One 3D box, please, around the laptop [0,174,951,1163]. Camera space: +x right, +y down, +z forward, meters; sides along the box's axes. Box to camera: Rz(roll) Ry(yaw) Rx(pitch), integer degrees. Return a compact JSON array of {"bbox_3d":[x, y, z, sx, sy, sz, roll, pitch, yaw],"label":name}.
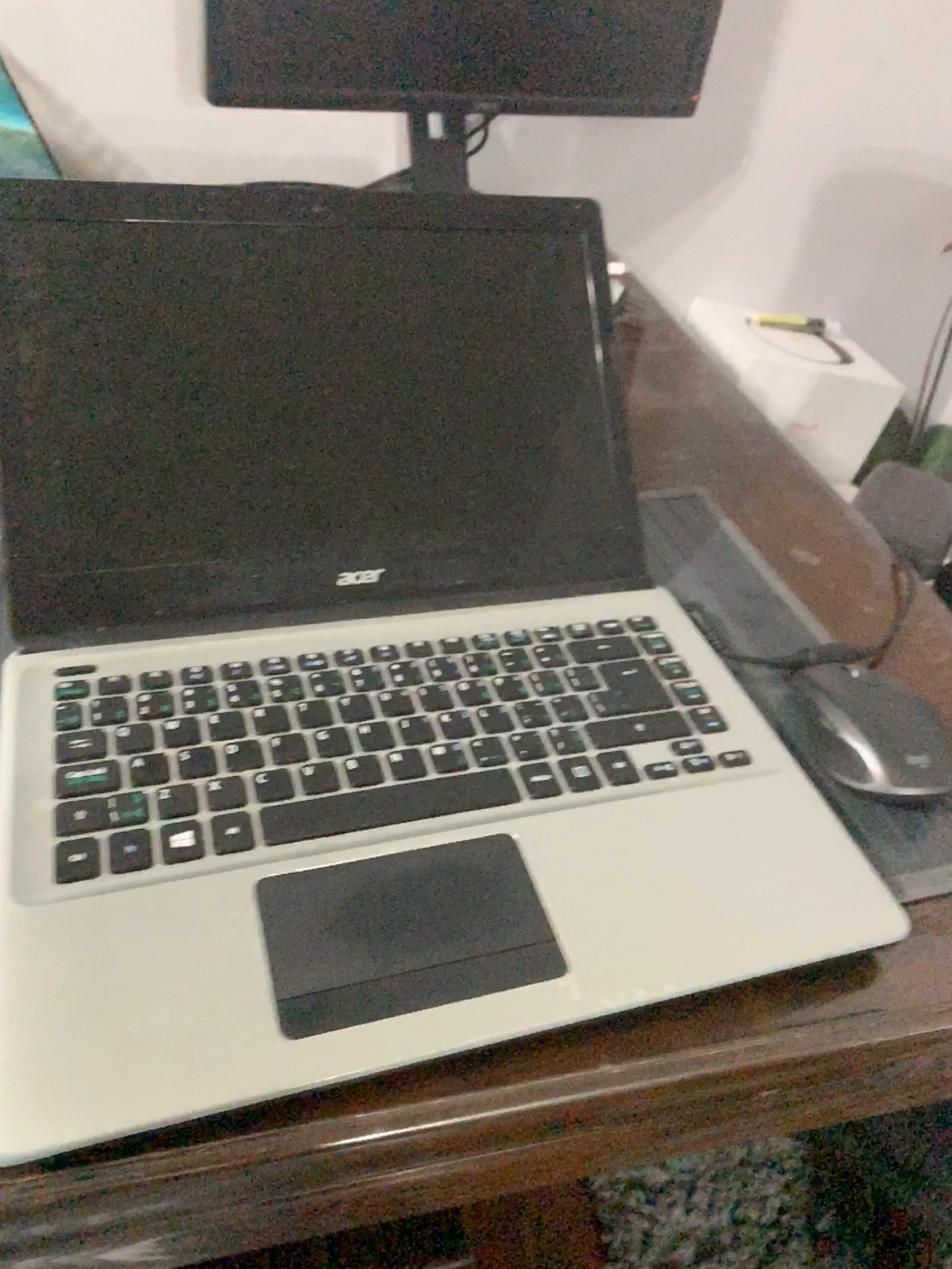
[{"bbox_3d":[-0.031,-0.048,0.420,0.330,0.146,0.387,-6,42,-19],"label":"laptop"}]
